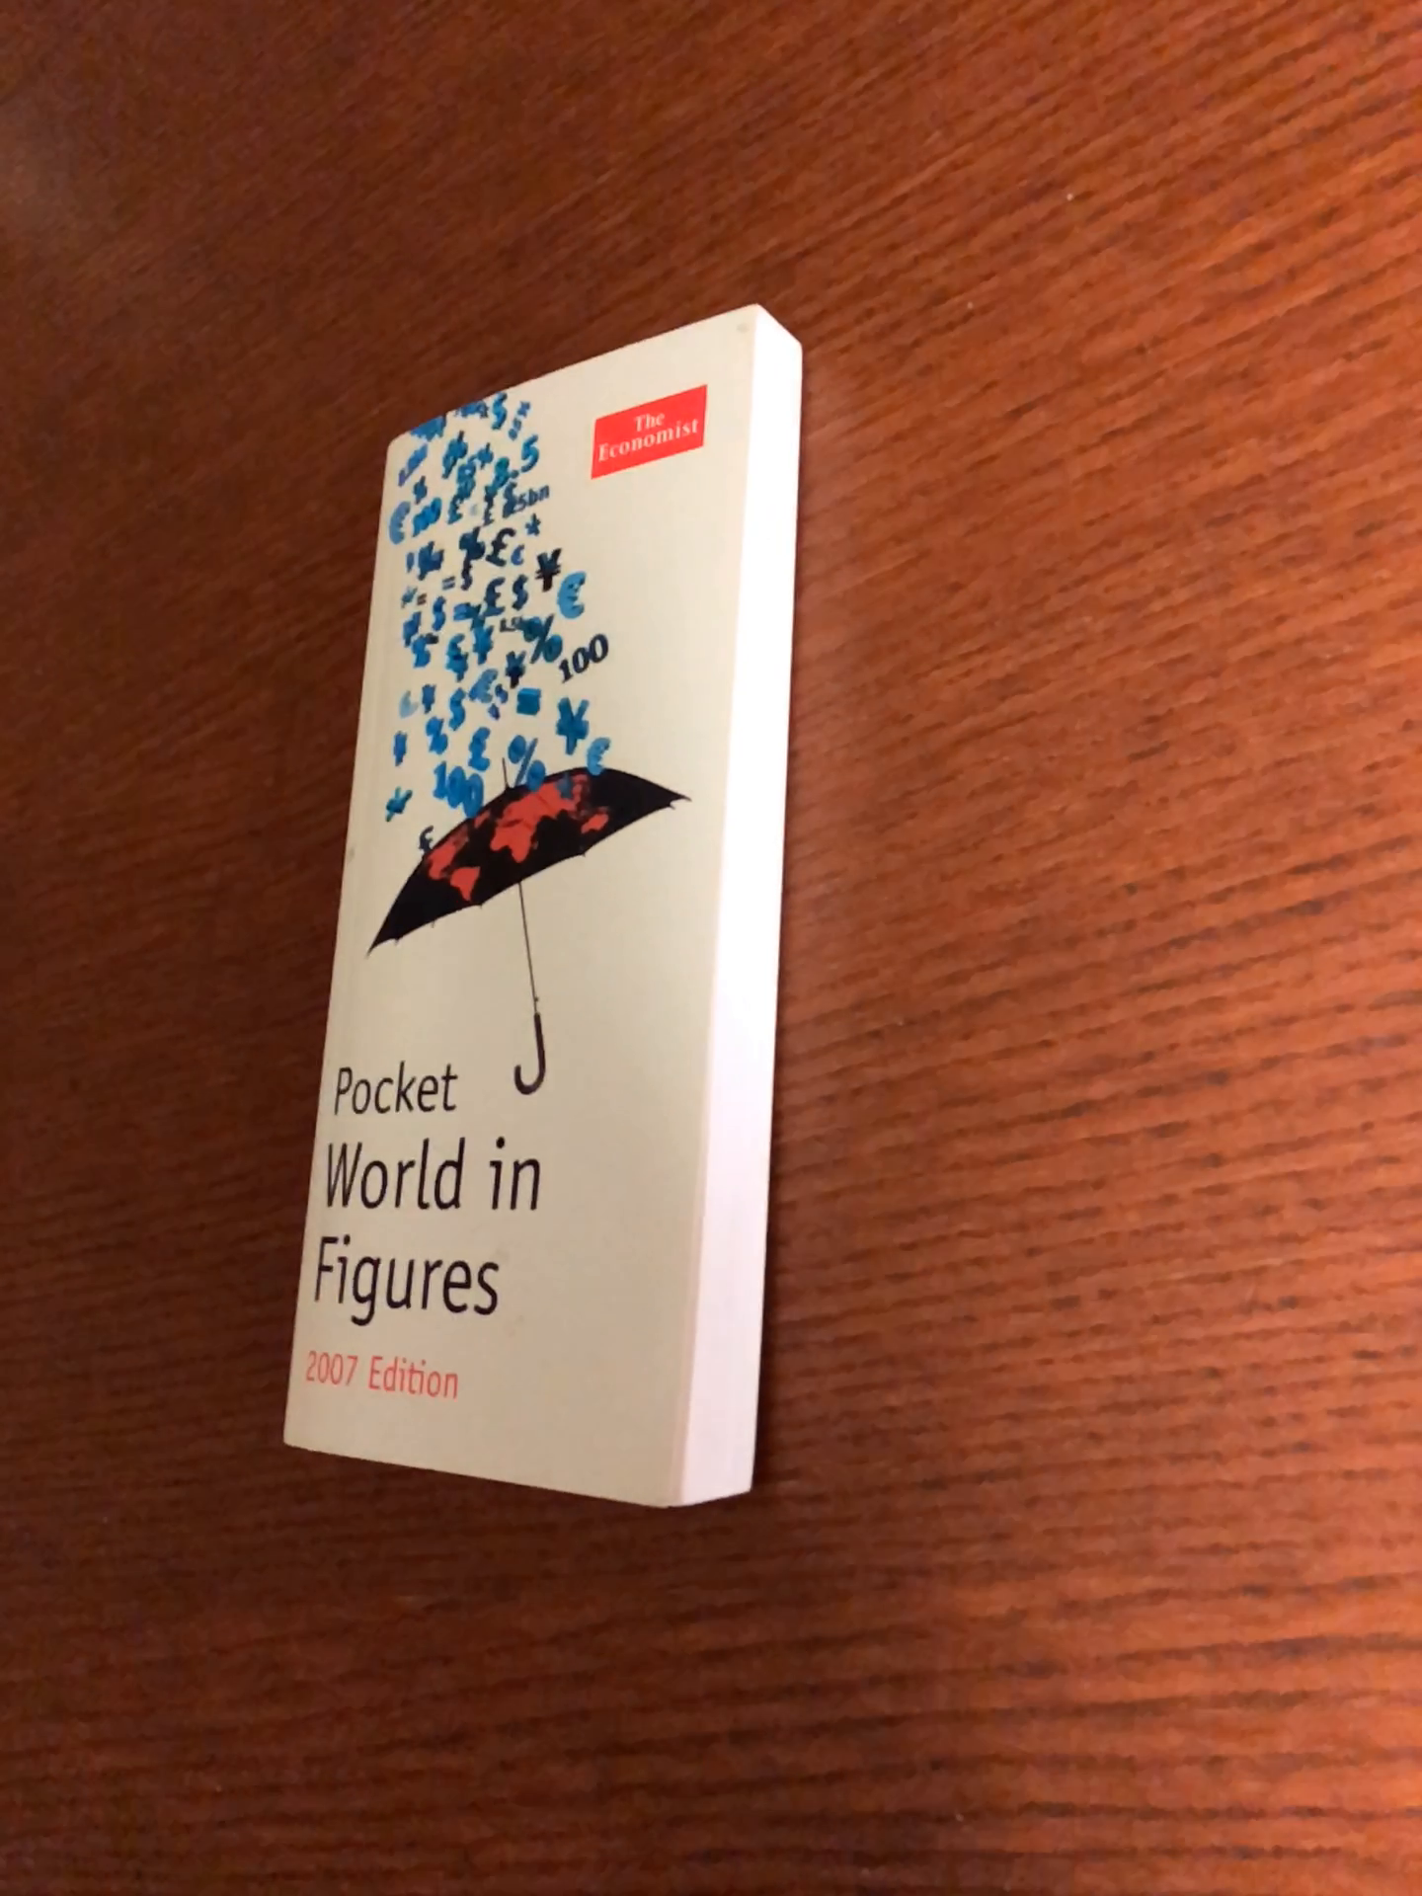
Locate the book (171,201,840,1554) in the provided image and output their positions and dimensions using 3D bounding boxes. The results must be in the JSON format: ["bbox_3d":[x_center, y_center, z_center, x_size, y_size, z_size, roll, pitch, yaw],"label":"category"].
[{"bbox_3d":[-0.034,-0.013,0.265,0.100,0.030,0.200,-6,74,36],"label":"book"}]
